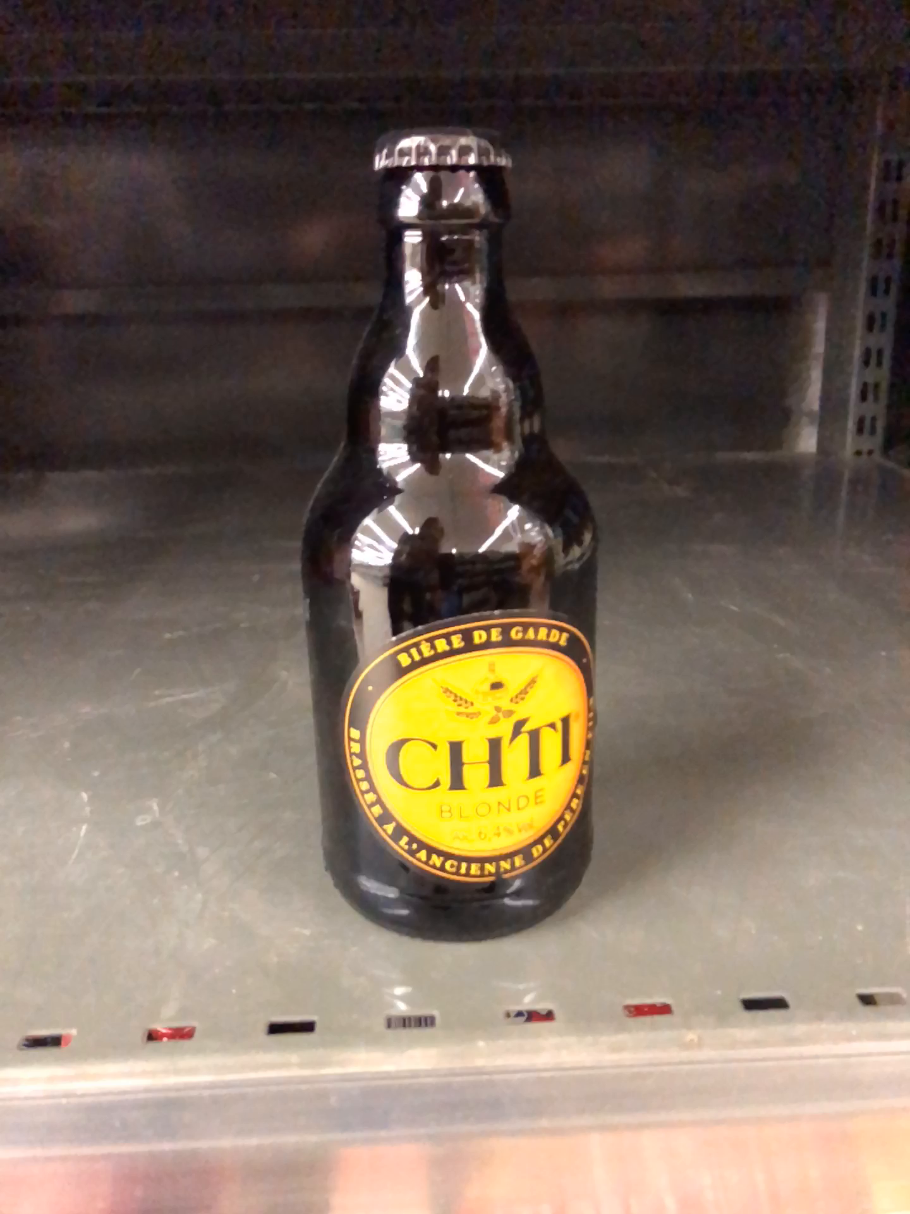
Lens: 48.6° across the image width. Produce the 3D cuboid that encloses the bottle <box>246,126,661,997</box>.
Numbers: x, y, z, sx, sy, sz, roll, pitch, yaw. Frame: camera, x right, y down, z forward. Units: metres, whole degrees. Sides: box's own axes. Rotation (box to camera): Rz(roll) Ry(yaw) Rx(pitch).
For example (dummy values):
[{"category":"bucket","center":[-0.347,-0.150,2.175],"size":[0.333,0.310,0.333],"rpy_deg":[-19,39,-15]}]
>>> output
[{"category":"bottle","center":[-0.003,-0.011,0.229],"size":[0.070,0.169,0.070],"rpy_deg":[-2,18,1]}]
